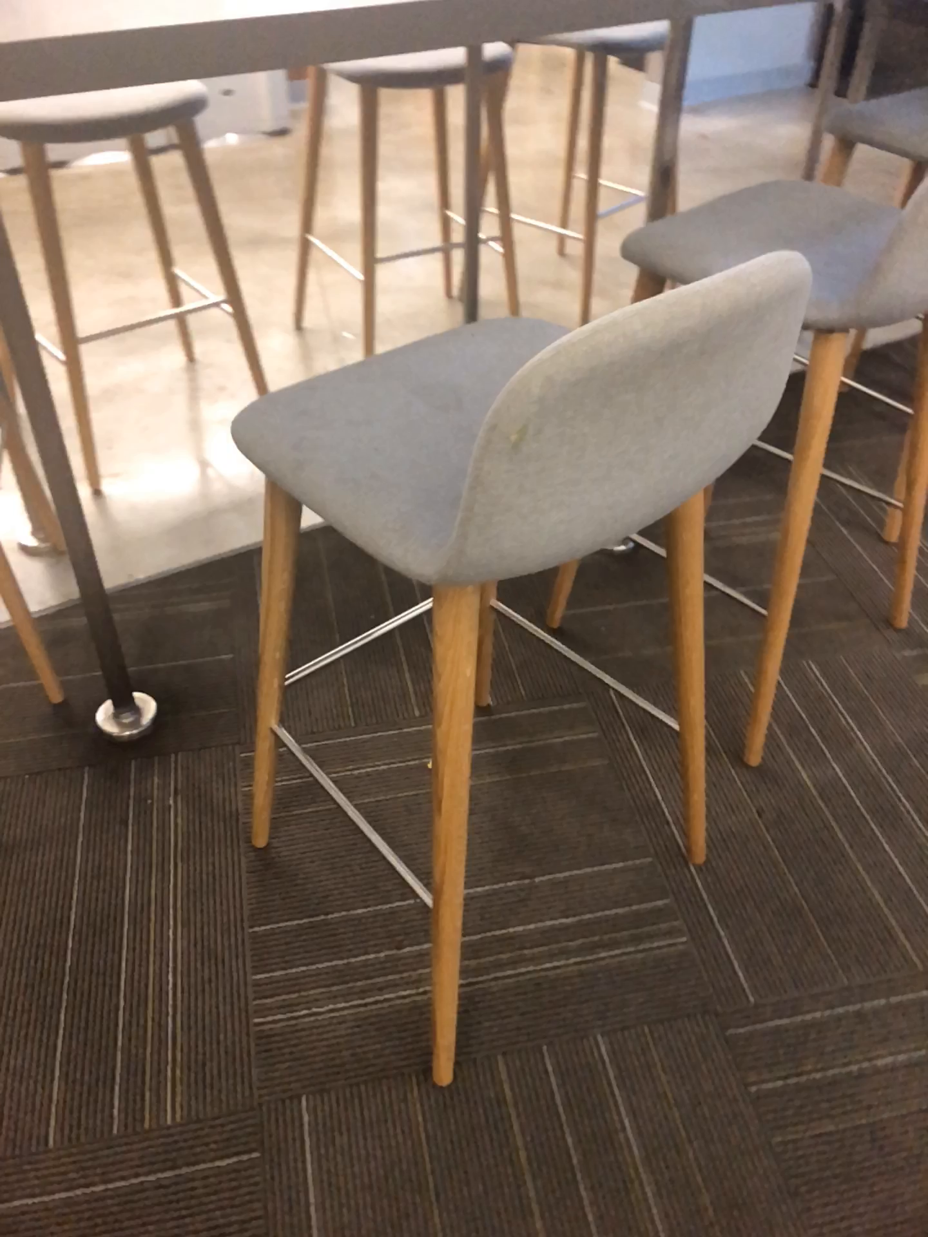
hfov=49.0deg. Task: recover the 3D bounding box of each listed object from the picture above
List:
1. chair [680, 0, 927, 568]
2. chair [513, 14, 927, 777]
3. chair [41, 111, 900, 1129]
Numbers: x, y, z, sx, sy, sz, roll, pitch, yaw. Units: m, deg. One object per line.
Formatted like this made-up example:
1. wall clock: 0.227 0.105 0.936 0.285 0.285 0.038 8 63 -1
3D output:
1. chair: 0.918 -0.750 2.165 0.543 1.031 0.542 -27 47 -29
2. chair: 0.489 -0.360 1.642 0.573 0.942 0.541 -31 49 -32
3. chair: 0.003 0.000 1.232 0.573 0.942 0.541 -31 49 -32
